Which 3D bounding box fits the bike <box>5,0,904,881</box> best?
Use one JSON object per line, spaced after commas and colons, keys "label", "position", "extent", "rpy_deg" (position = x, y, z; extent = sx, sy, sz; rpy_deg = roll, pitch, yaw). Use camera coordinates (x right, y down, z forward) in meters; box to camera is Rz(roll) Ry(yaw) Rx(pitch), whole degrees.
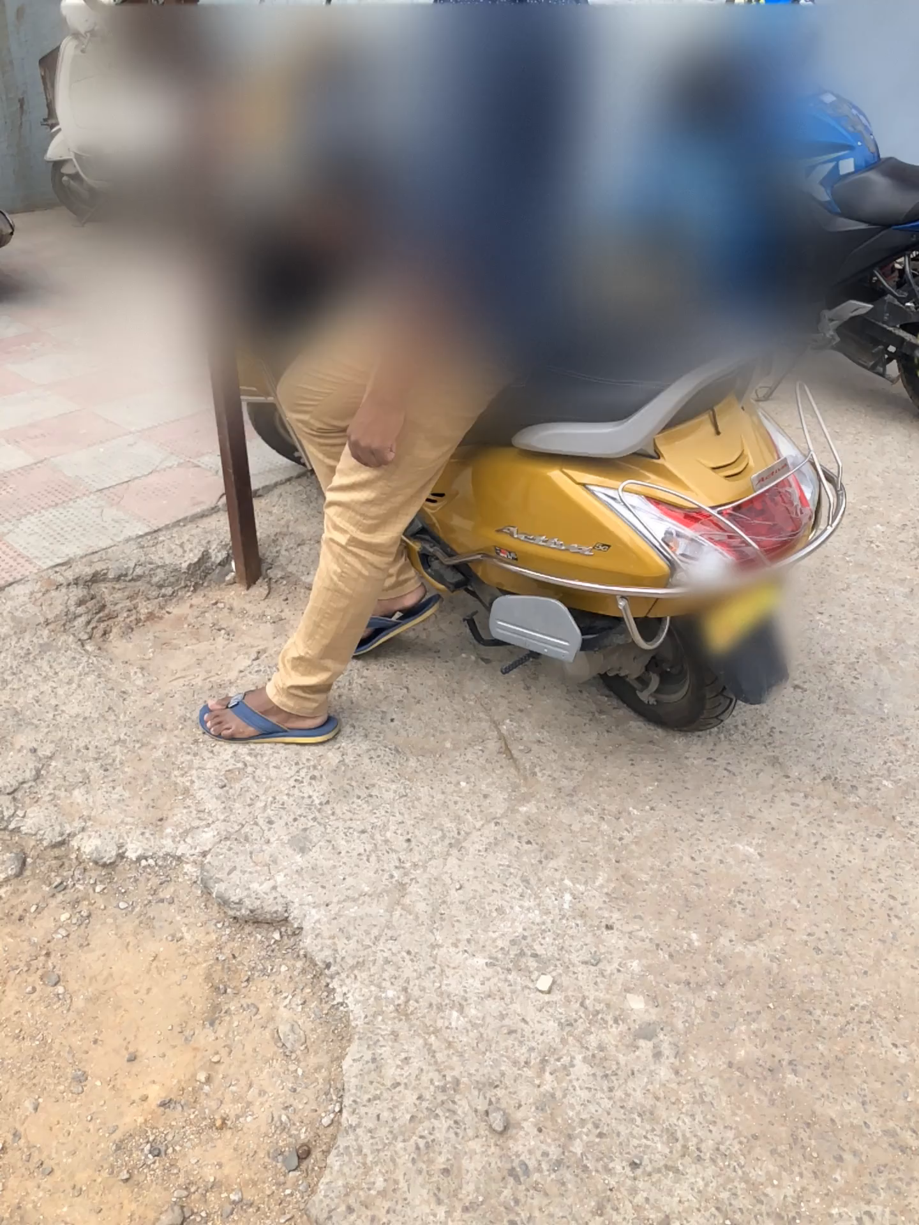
{"label": "bike", "position": [-0.133, -0.515, 1.937], "extent": [0.587, 1.153, 1.529], "rpy_deg": [-24, 41, -37]}
